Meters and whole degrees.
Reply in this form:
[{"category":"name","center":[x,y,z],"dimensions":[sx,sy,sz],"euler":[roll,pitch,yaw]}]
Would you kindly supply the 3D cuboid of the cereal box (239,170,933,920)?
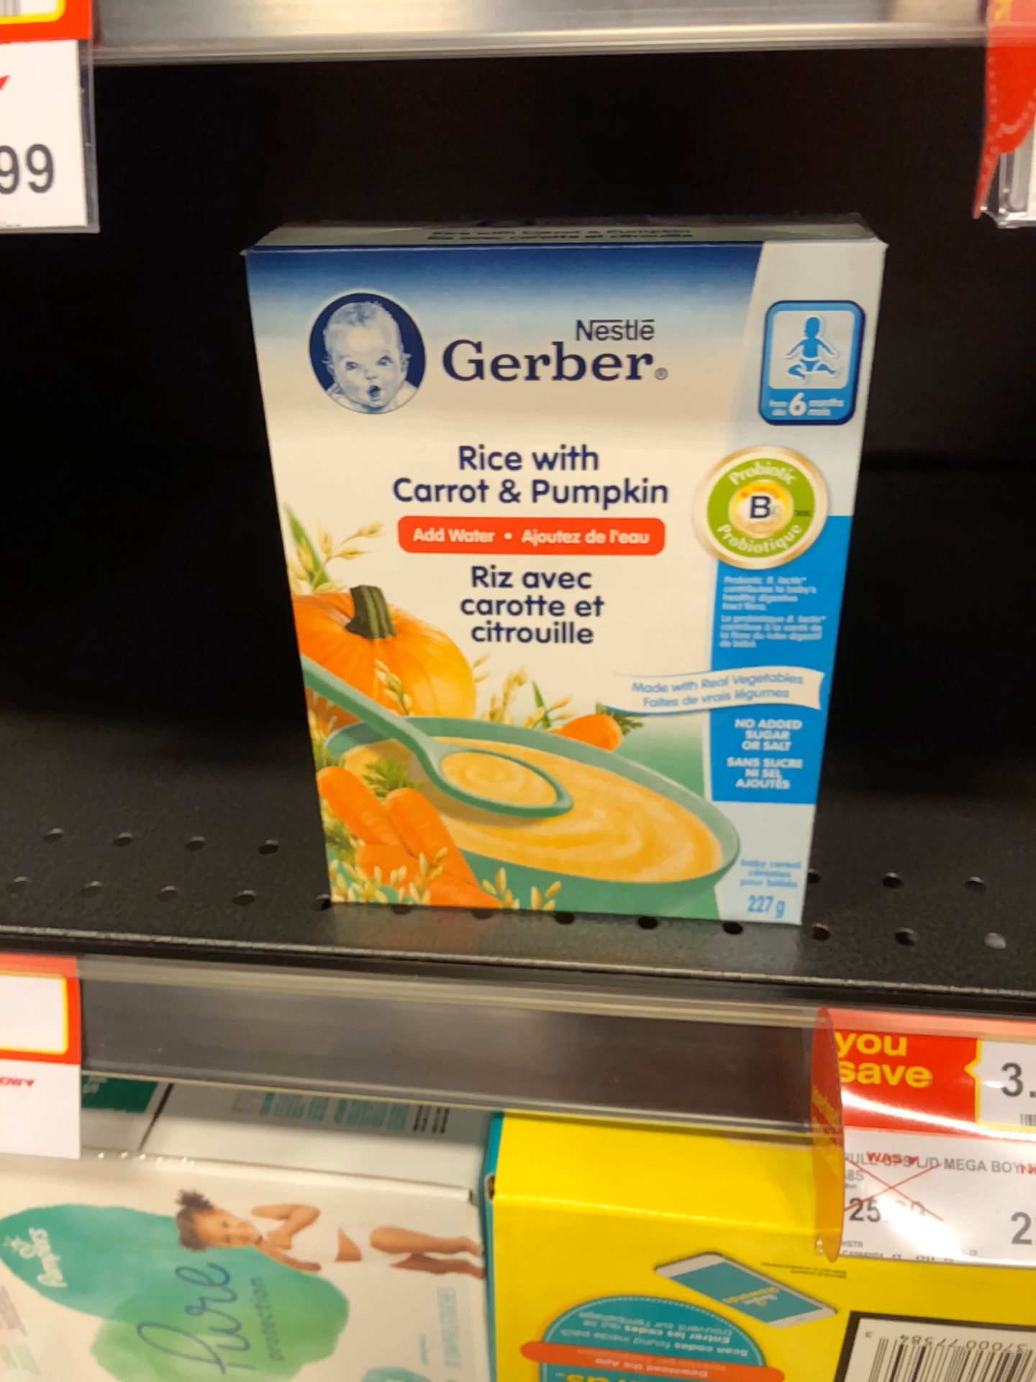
[{"category":"cereal box","center":[0.017,-0.030,0.318],"dimensions":[0.150,0.199,0.040],"euler":[1,30,6]}]
